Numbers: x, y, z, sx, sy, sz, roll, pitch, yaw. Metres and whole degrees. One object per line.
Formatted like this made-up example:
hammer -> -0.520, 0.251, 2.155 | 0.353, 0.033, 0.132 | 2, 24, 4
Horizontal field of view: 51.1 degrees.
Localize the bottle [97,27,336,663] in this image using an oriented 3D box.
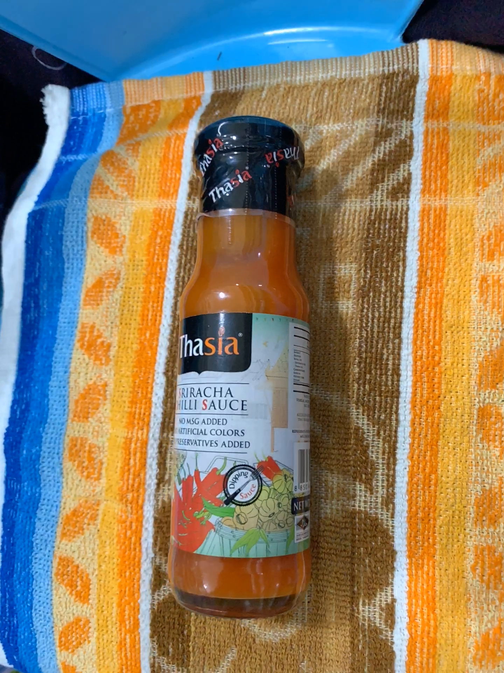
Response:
bottle -> -0.006, -0.002, 0.180 | 0.050, 0.050, 0.180 | -4, 76, 29
